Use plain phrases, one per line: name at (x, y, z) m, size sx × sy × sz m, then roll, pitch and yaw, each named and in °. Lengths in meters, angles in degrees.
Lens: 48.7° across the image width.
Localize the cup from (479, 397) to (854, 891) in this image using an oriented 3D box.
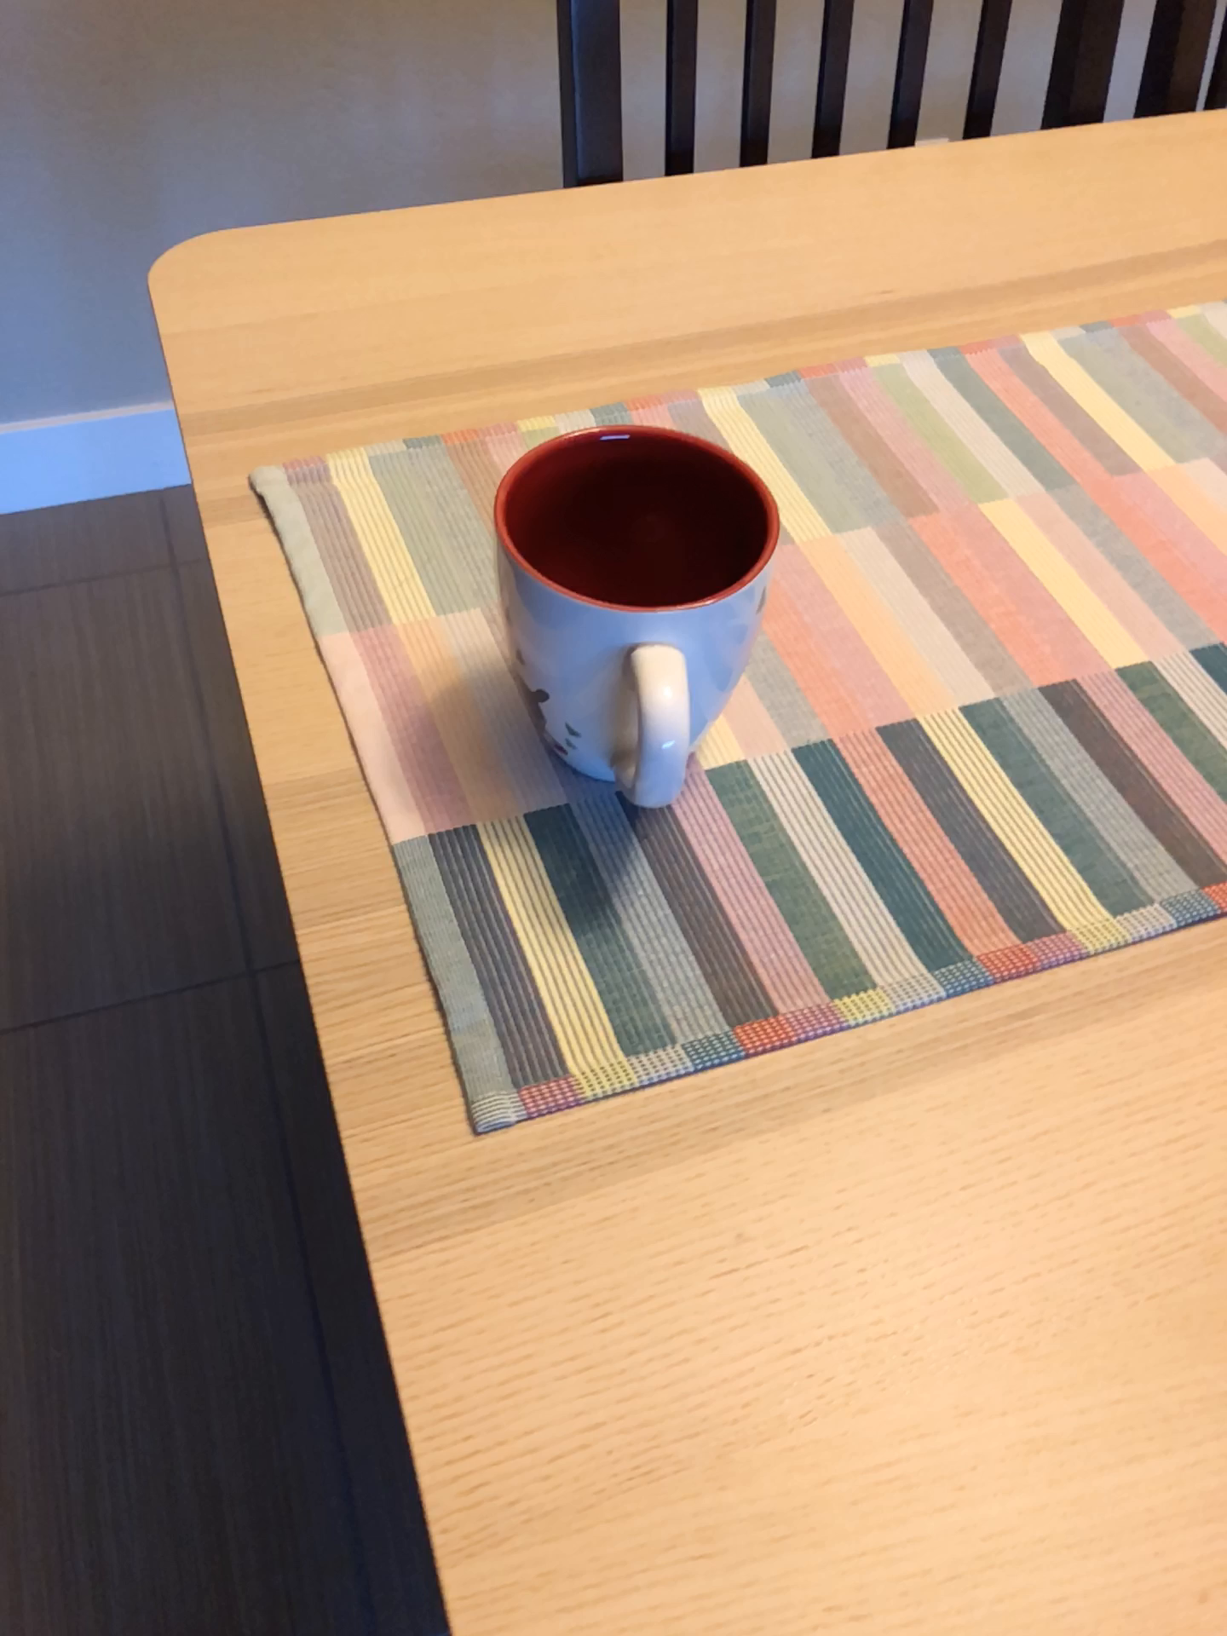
cup at (0.009, -0.061, 0.456) m, size 0.100 × 0.090 × 0.141 m, roll -3°, pitch 50°, yaw -6°
